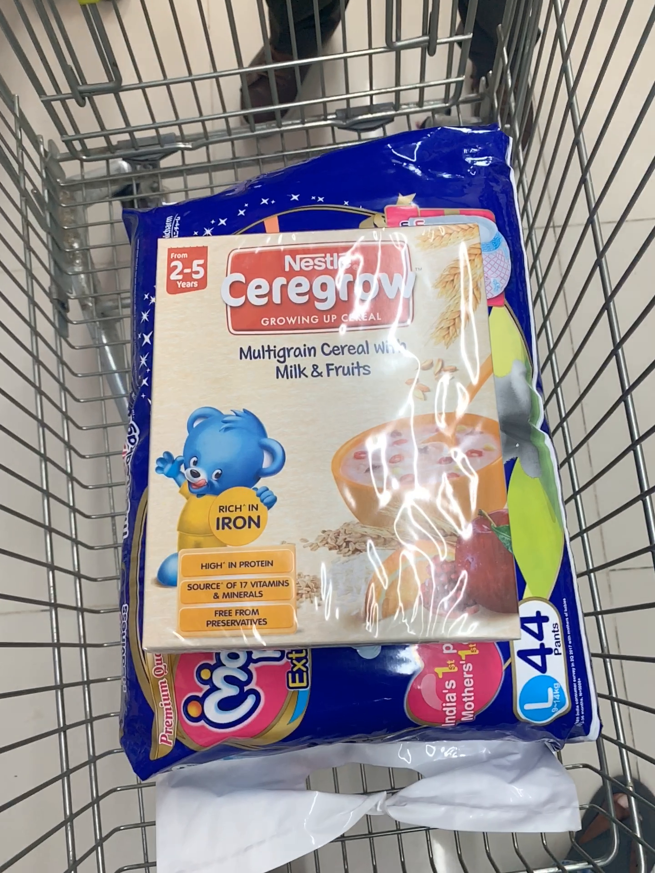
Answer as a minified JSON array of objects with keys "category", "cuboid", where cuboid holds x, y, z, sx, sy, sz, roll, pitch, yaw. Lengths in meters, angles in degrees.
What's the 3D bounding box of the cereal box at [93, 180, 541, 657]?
[{"category":"cereal box","cuboid":[-0.007,-0.009,0.290,0.160,0.050,0.190,-2,74,2]}]
